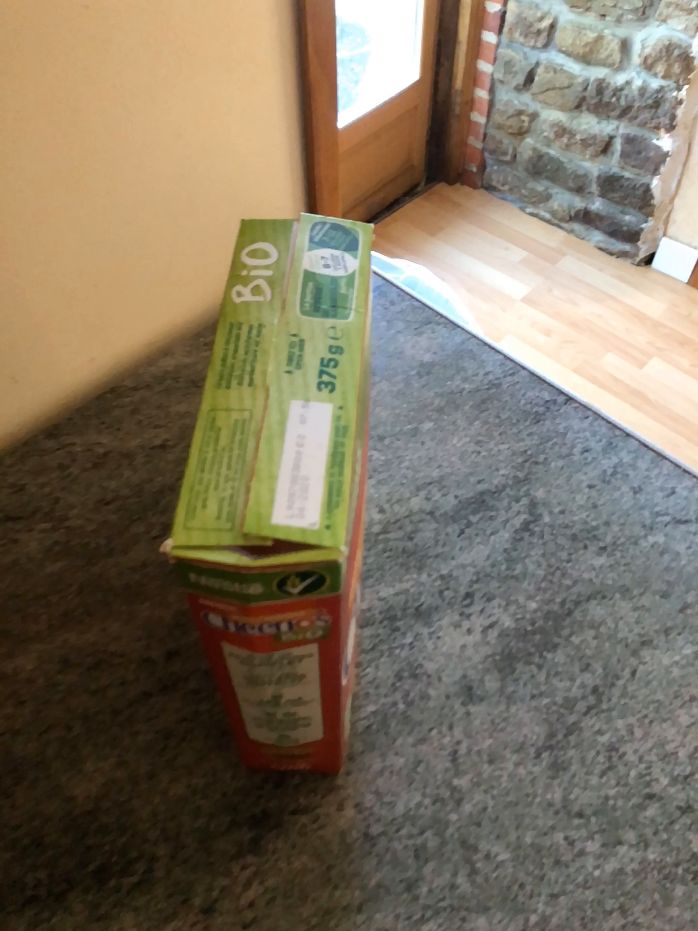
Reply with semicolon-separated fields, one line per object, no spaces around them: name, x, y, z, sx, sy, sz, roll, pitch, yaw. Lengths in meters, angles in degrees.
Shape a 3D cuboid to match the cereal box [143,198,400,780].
cereal box;-0.022;0.029;0.417;0.080;0.259;0.201;3;53;2
